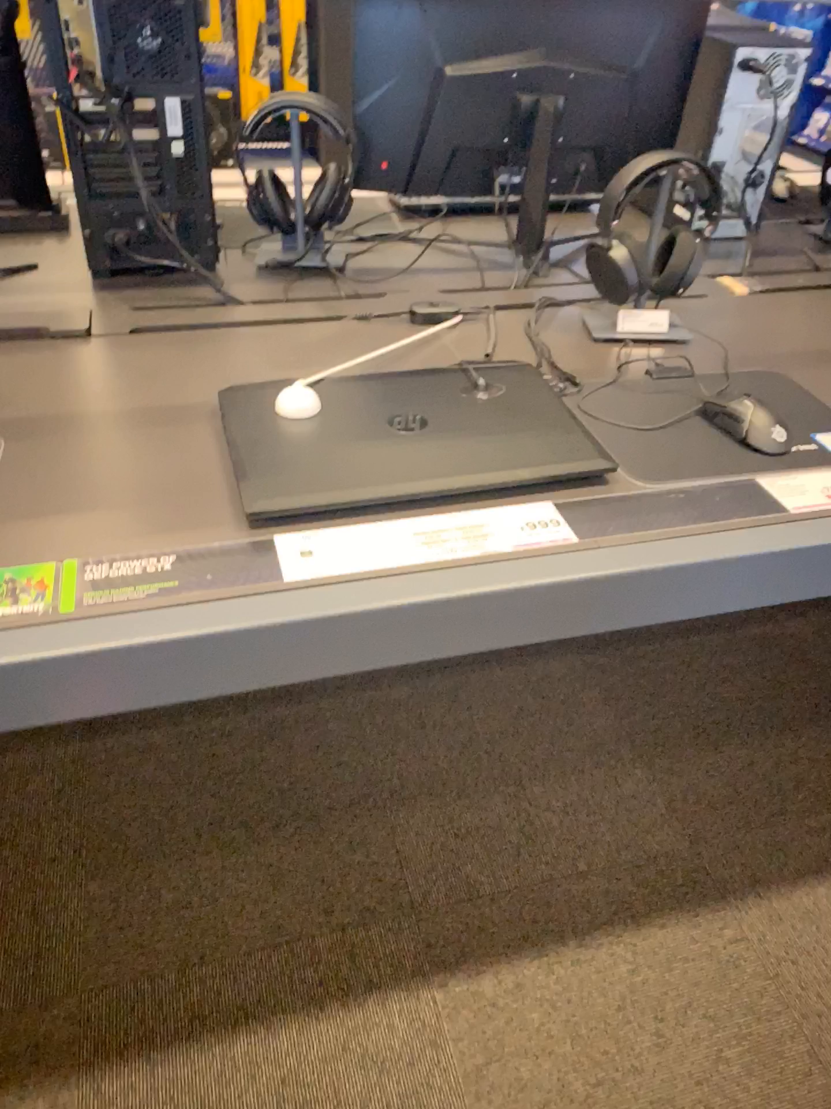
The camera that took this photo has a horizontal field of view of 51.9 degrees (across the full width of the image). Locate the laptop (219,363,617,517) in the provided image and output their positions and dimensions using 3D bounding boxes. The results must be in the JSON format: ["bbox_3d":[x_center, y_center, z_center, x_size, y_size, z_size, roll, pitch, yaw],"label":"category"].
[{"bbox_3d":[-0.009,-0.142,0.963,0.394,0.001,0.258,-9,39,-14],"label":"laptop"}]
